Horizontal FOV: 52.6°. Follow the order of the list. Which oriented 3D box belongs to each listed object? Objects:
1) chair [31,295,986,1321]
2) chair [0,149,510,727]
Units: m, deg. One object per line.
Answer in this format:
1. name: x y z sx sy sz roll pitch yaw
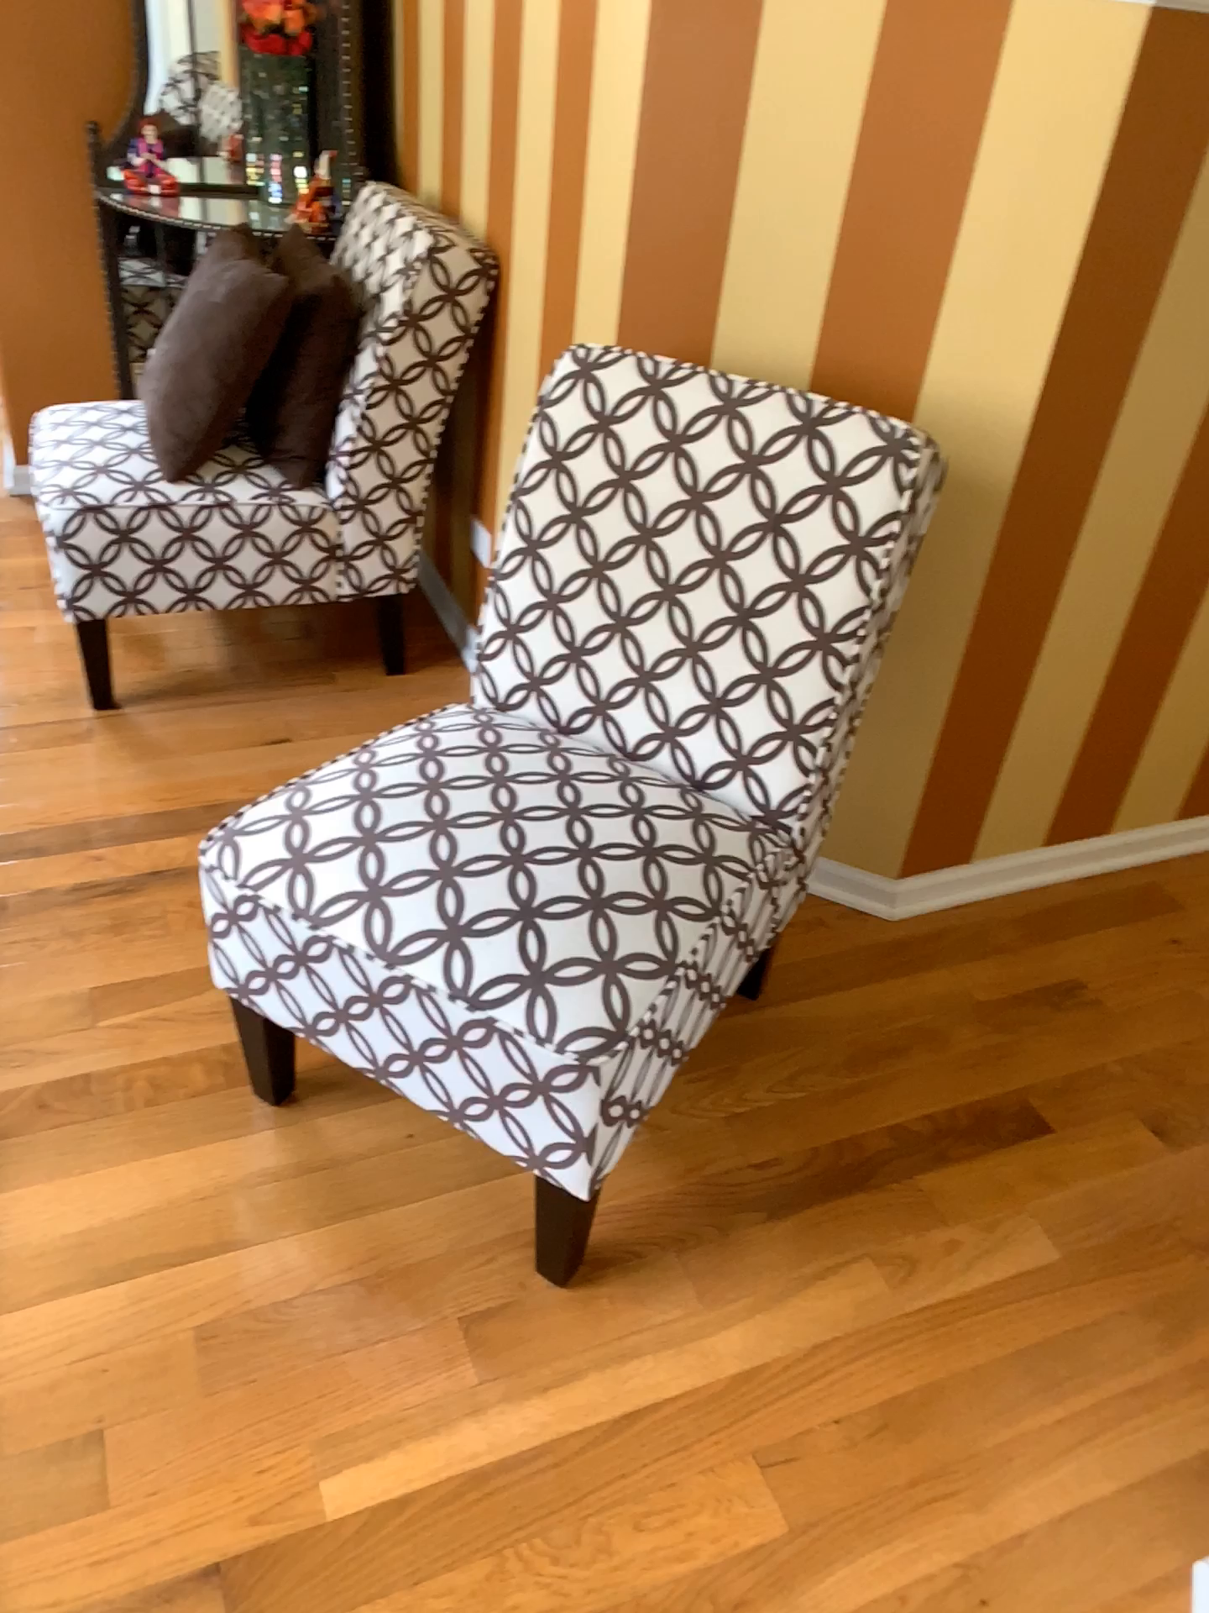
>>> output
1. chair: -0.073 -0.080 1.413 0.622 0.774 0.741 23 36 25
2. chair: -0.675 -0.704 2.309 0.797 0.834 0.595 -8 36 -22
